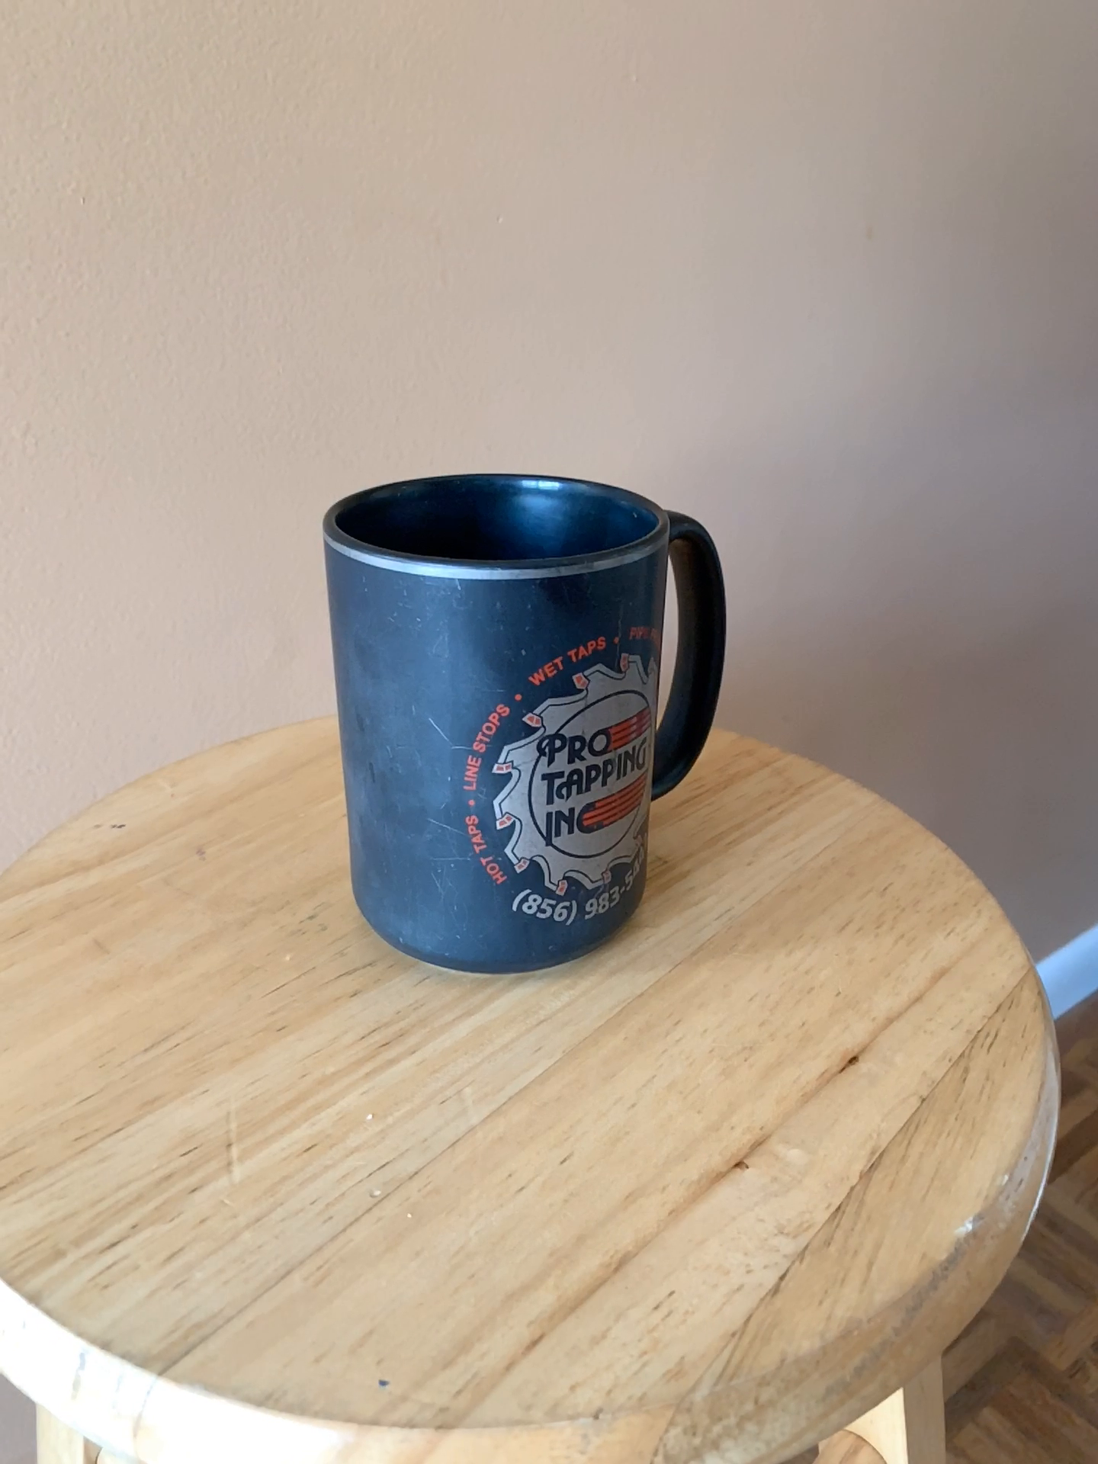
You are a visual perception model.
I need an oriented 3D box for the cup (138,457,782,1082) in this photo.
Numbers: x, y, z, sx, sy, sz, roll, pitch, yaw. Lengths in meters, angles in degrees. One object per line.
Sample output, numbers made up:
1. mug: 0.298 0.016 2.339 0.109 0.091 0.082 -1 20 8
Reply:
1. cup: -0.022 -0.004 0.340 0.140 0.119 0.110 -22 32 -39
